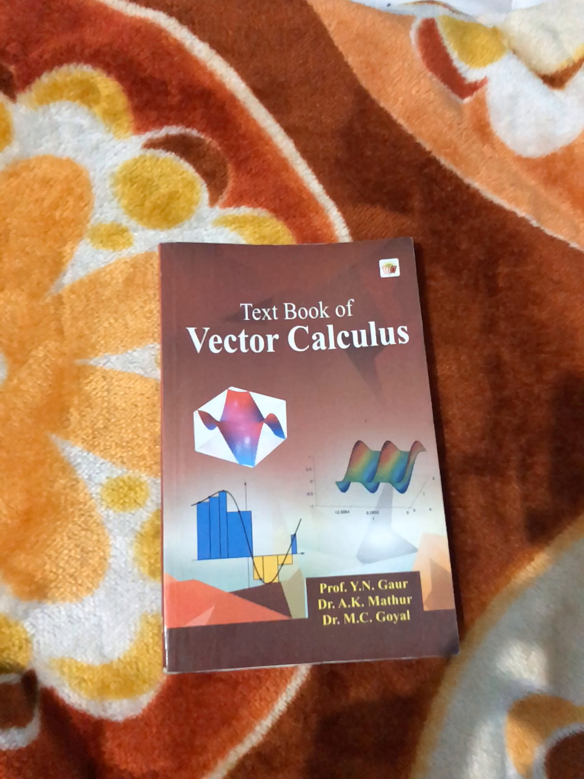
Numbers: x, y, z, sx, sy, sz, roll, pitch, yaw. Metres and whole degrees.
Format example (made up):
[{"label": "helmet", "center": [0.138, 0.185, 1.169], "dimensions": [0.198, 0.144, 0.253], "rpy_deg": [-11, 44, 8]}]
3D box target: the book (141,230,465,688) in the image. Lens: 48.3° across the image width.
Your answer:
[{"label": "book", "center": [0.000, 0.024, 0.317], "dimensions": [0.140, 0.020, 0.210], "rpy_deg": [-3, 76, -5]}]
